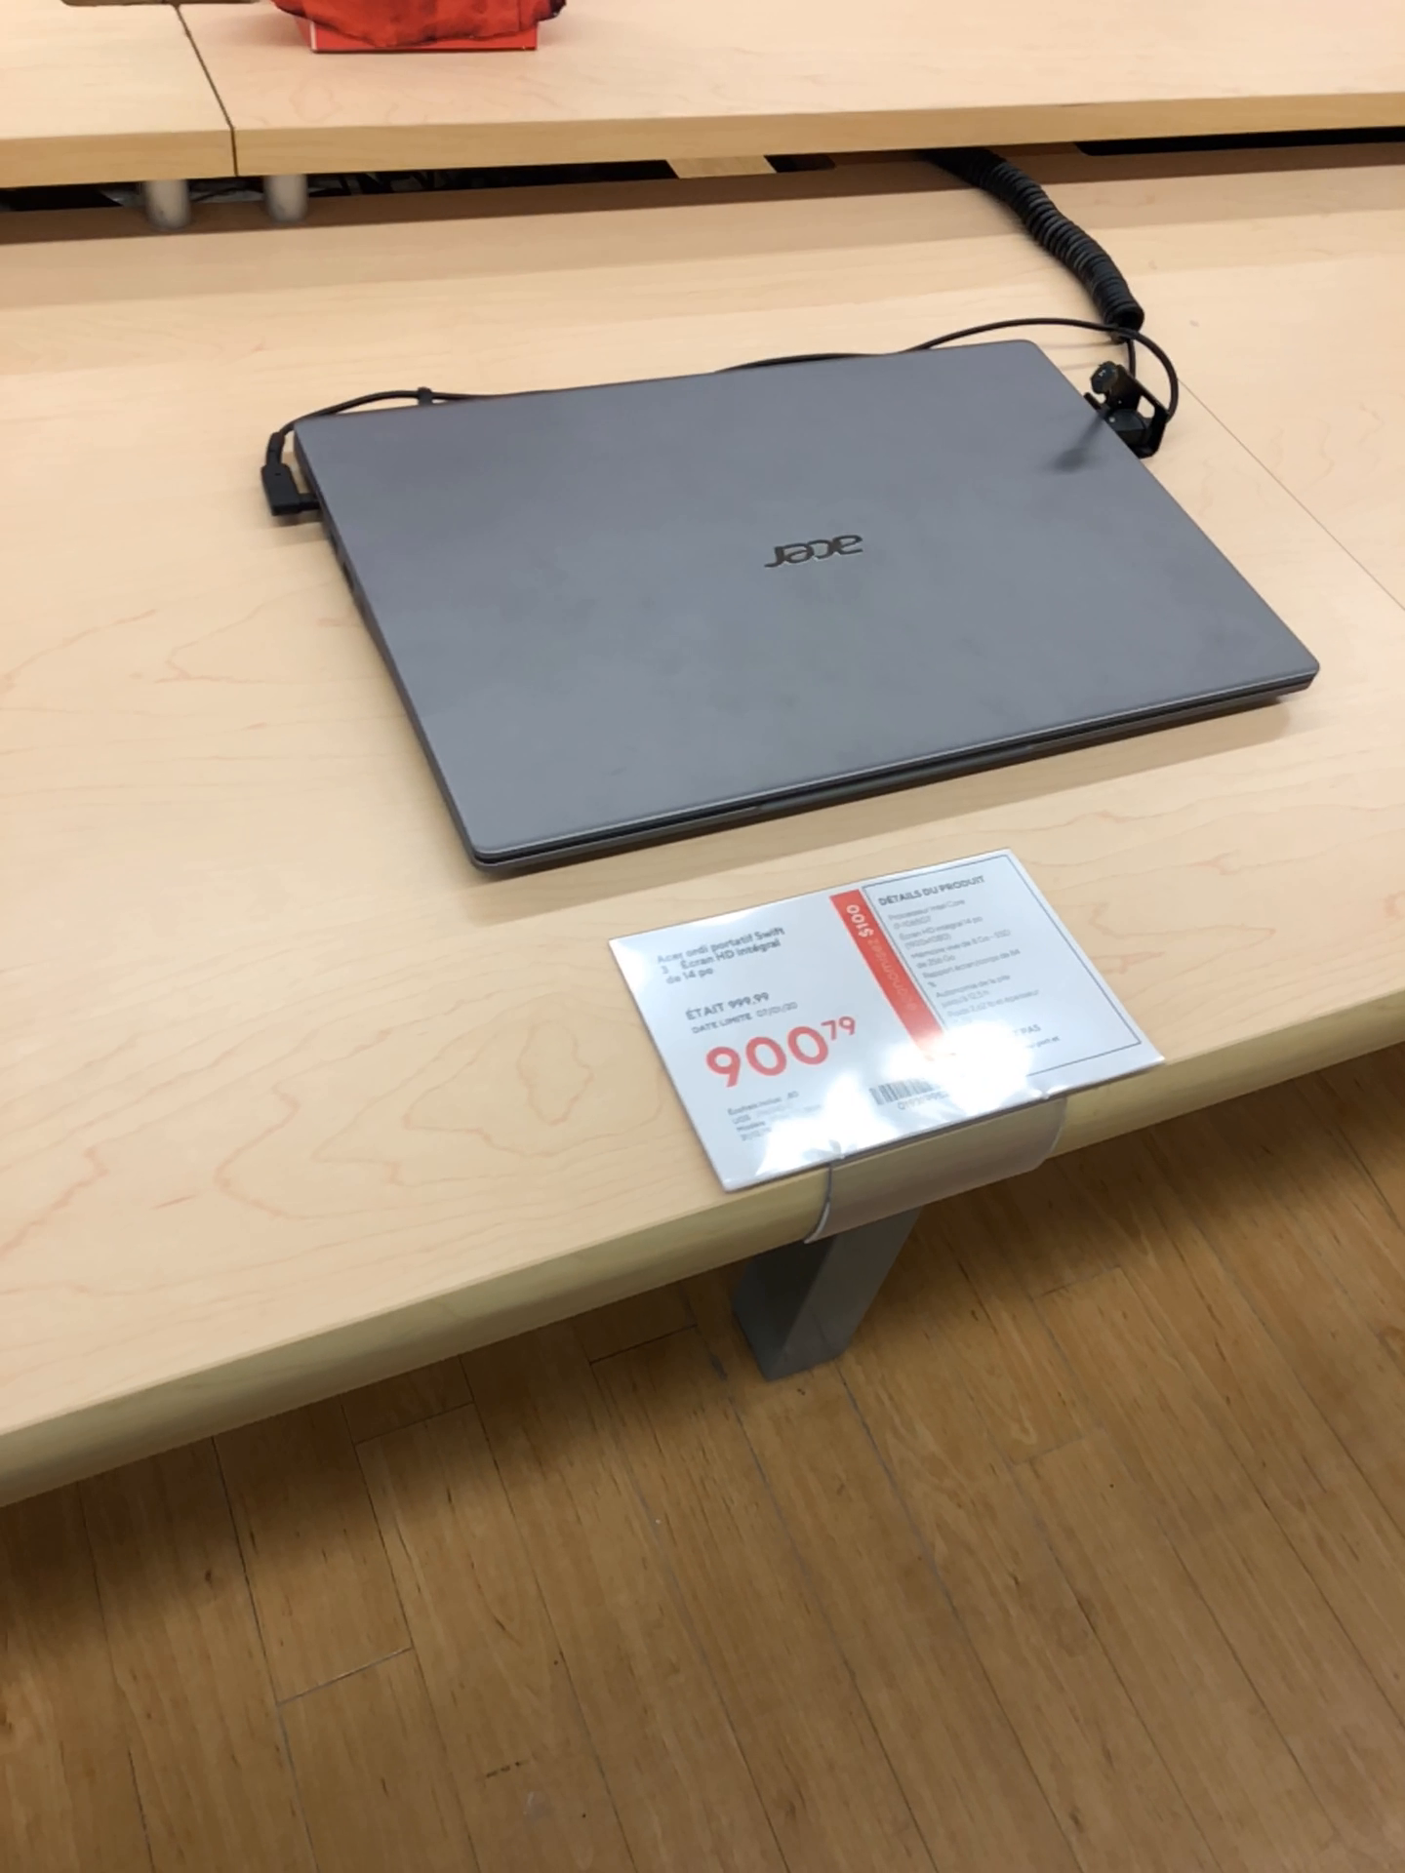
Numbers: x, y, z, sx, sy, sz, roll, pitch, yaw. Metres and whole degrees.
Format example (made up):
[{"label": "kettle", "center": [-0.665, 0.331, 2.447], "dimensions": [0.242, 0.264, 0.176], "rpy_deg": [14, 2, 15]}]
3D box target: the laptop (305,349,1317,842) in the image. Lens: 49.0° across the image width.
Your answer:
[{"label": "laptop", "center": [0.039, -0.137, 0.543], "dimensions": [0.307, 0.001, 0.201], "rpy_deg": [-13, 56, -21]}]
